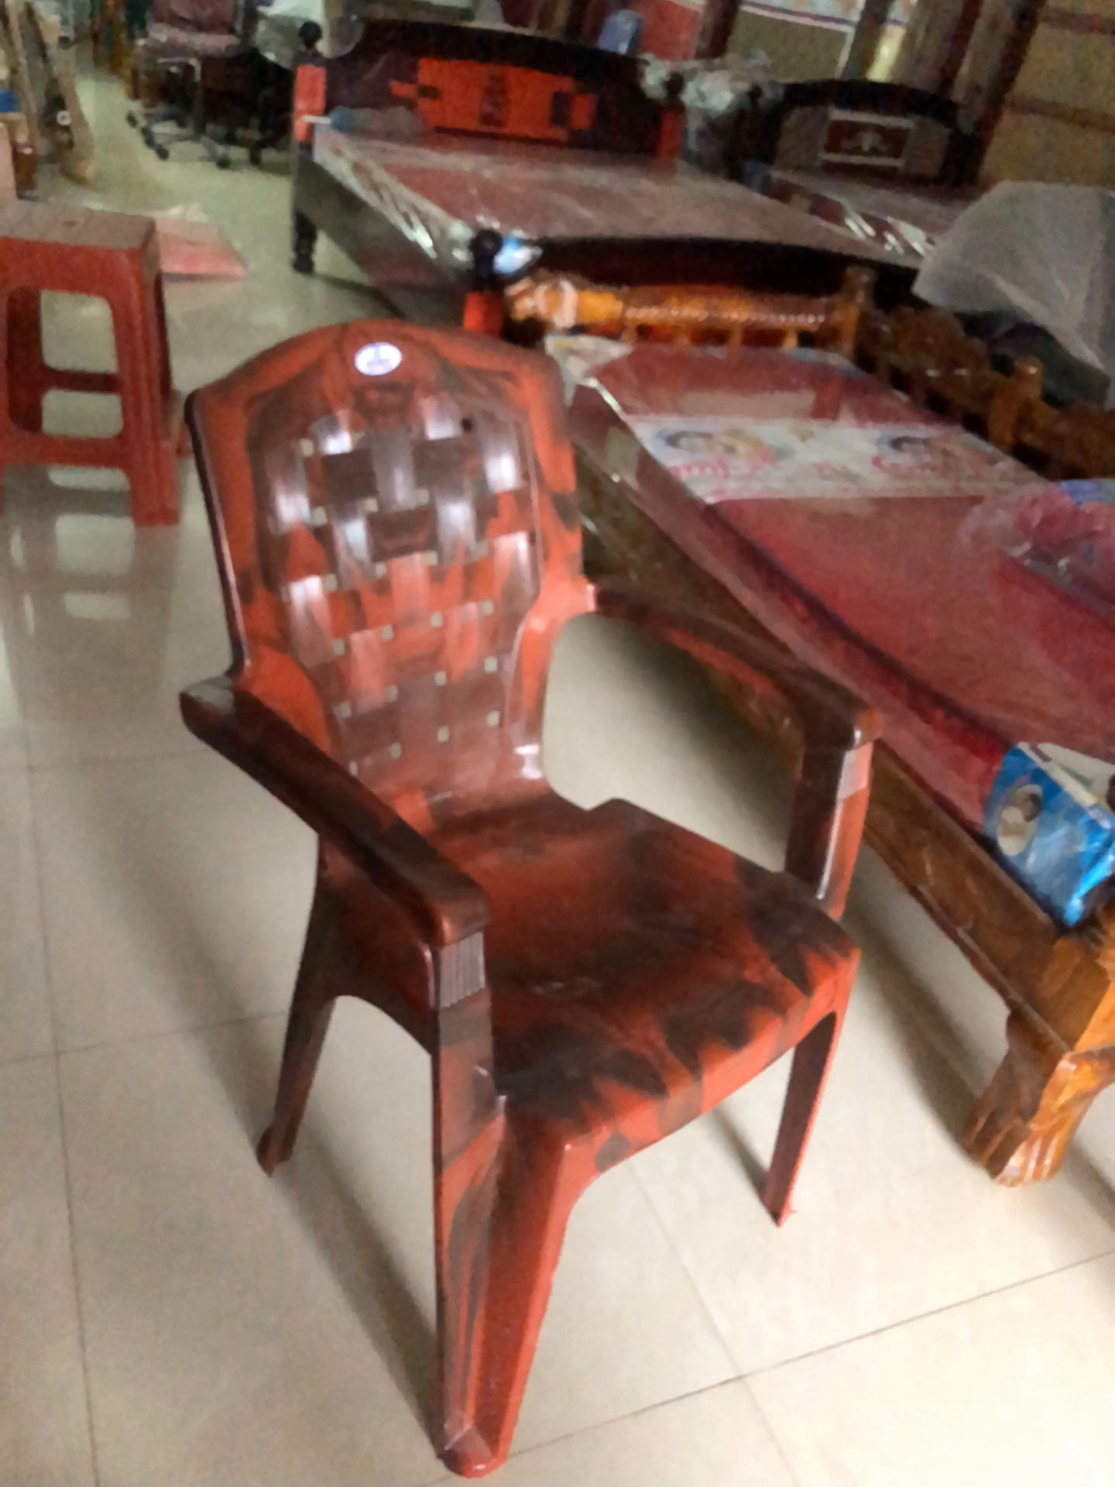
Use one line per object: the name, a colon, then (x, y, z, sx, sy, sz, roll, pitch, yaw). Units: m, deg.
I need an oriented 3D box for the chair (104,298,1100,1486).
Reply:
chair: (-0.028, 0.111, 1.169, 0.532, 0.865, 0.561, -20, 42, -38)
